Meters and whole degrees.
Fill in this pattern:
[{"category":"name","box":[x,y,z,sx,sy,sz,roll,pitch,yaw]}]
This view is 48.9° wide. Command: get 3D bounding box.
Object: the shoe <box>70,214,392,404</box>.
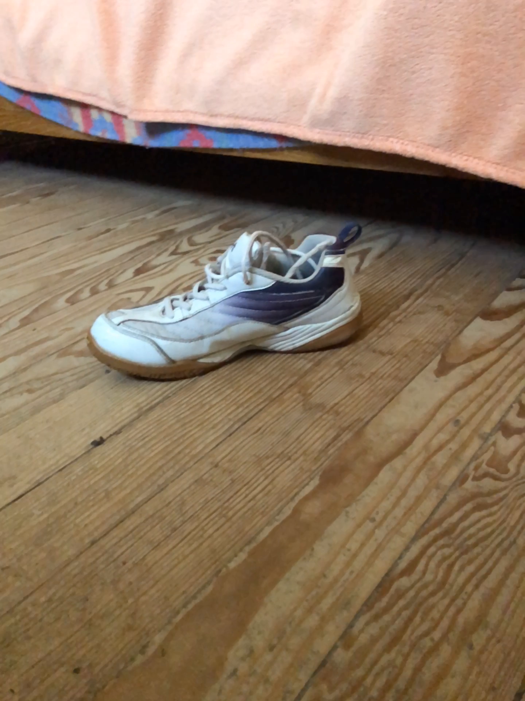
[{"category":"shoe","box":[-0.026,-0.044,0.533,0.260,0.099,0.111,-9,29,-6]}]
